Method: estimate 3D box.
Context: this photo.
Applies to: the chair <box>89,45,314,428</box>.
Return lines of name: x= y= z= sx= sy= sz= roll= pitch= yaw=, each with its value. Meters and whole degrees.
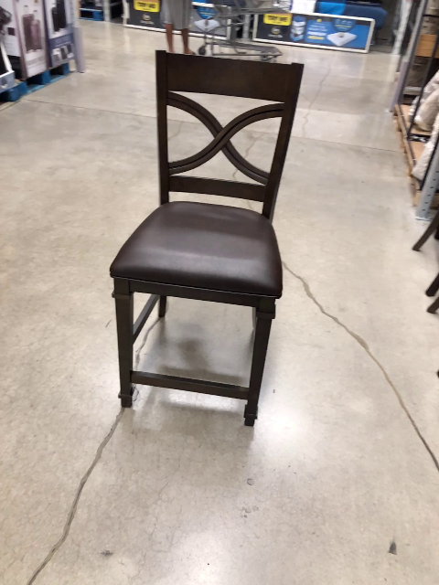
chair: x=-0.035 y=-0.175 z=1.600 sx=0.490 sy=1.027 sz=0.652 roll=7 pitch=37 yaw=3
